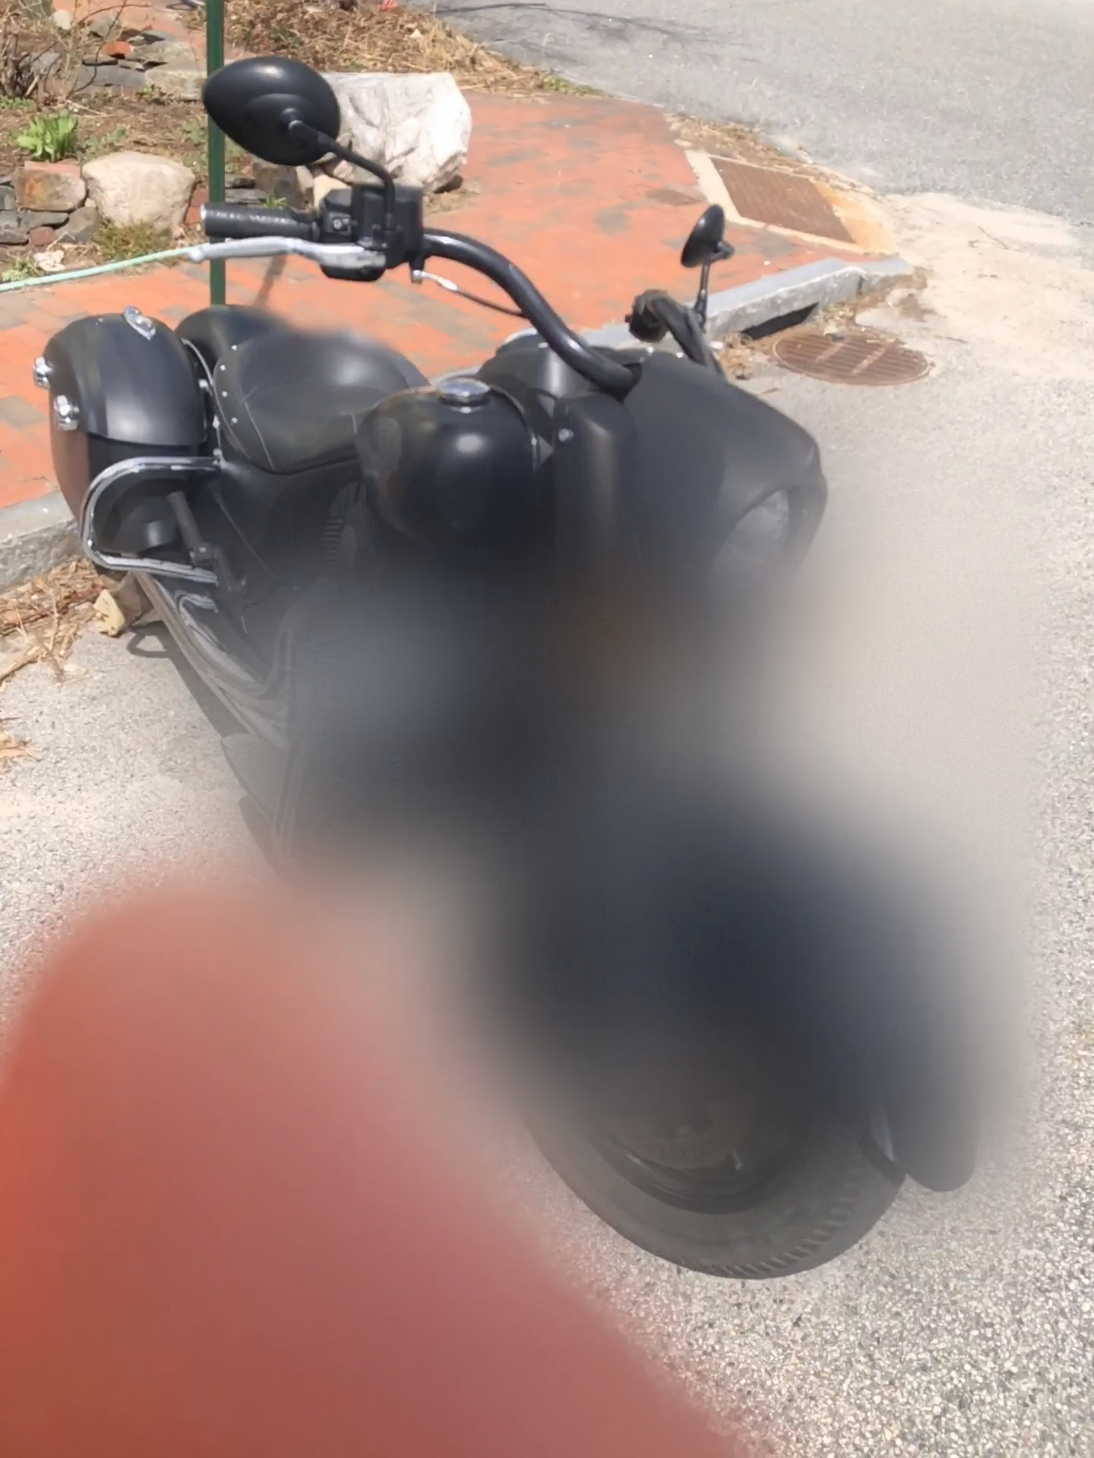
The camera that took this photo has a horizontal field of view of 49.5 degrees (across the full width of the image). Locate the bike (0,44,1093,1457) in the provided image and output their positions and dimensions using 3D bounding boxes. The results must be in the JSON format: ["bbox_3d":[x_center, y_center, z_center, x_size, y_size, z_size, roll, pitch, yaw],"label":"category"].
[{"bbox_3d":[-0.170,-0.241,1.893,0.782,1.237,2.135,-22,42,-27],"label":"bike"}]
